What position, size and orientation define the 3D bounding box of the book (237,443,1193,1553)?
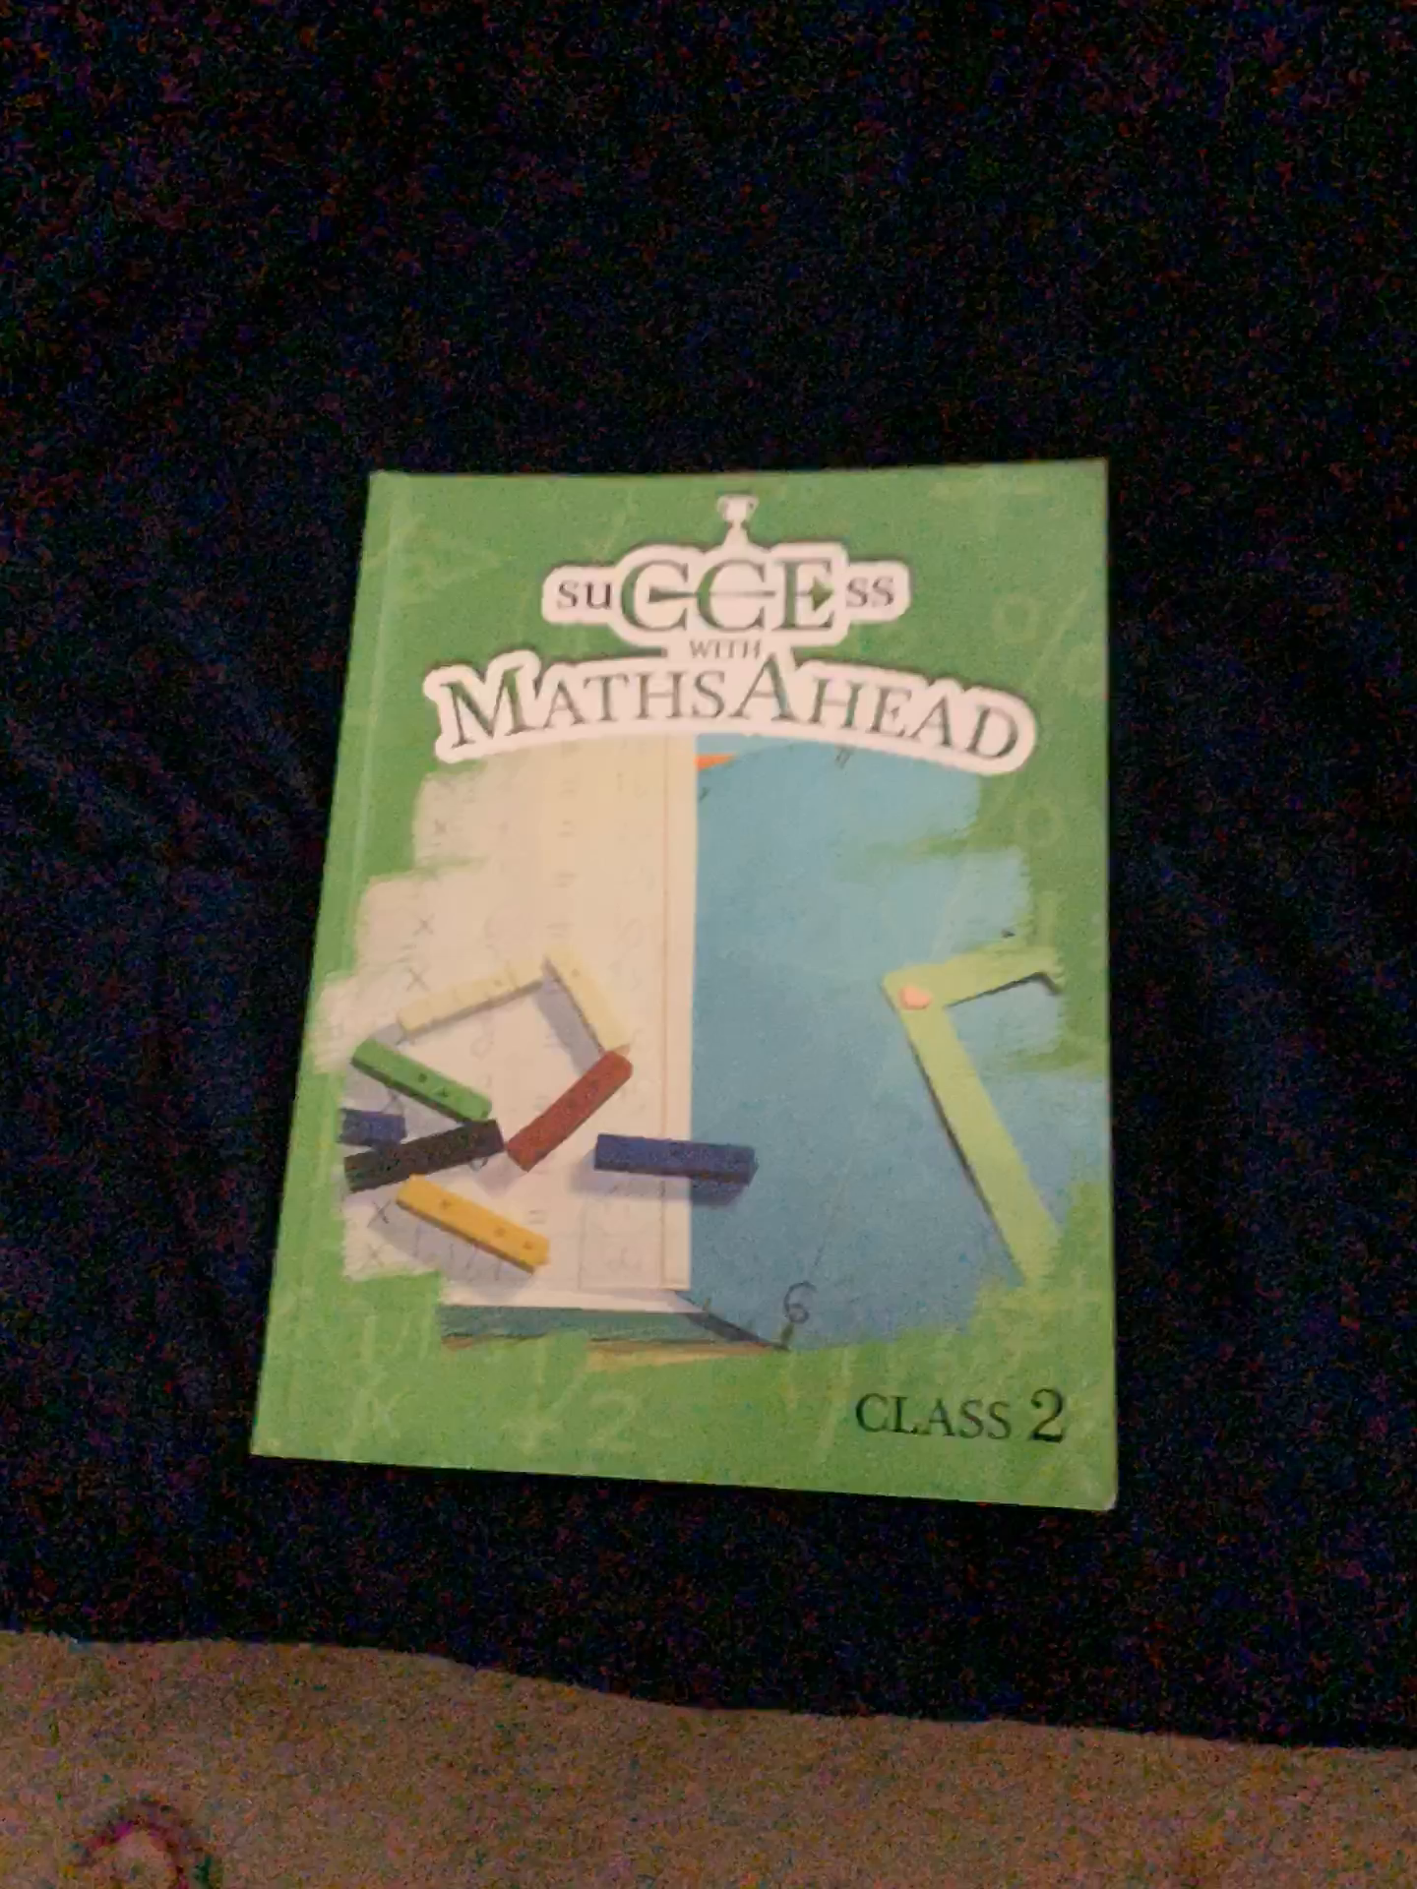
[{"bbox_3d":[0.006,0.001,0.388,0.230,0.020,0.280,2,79,6],"label":"book"}]
